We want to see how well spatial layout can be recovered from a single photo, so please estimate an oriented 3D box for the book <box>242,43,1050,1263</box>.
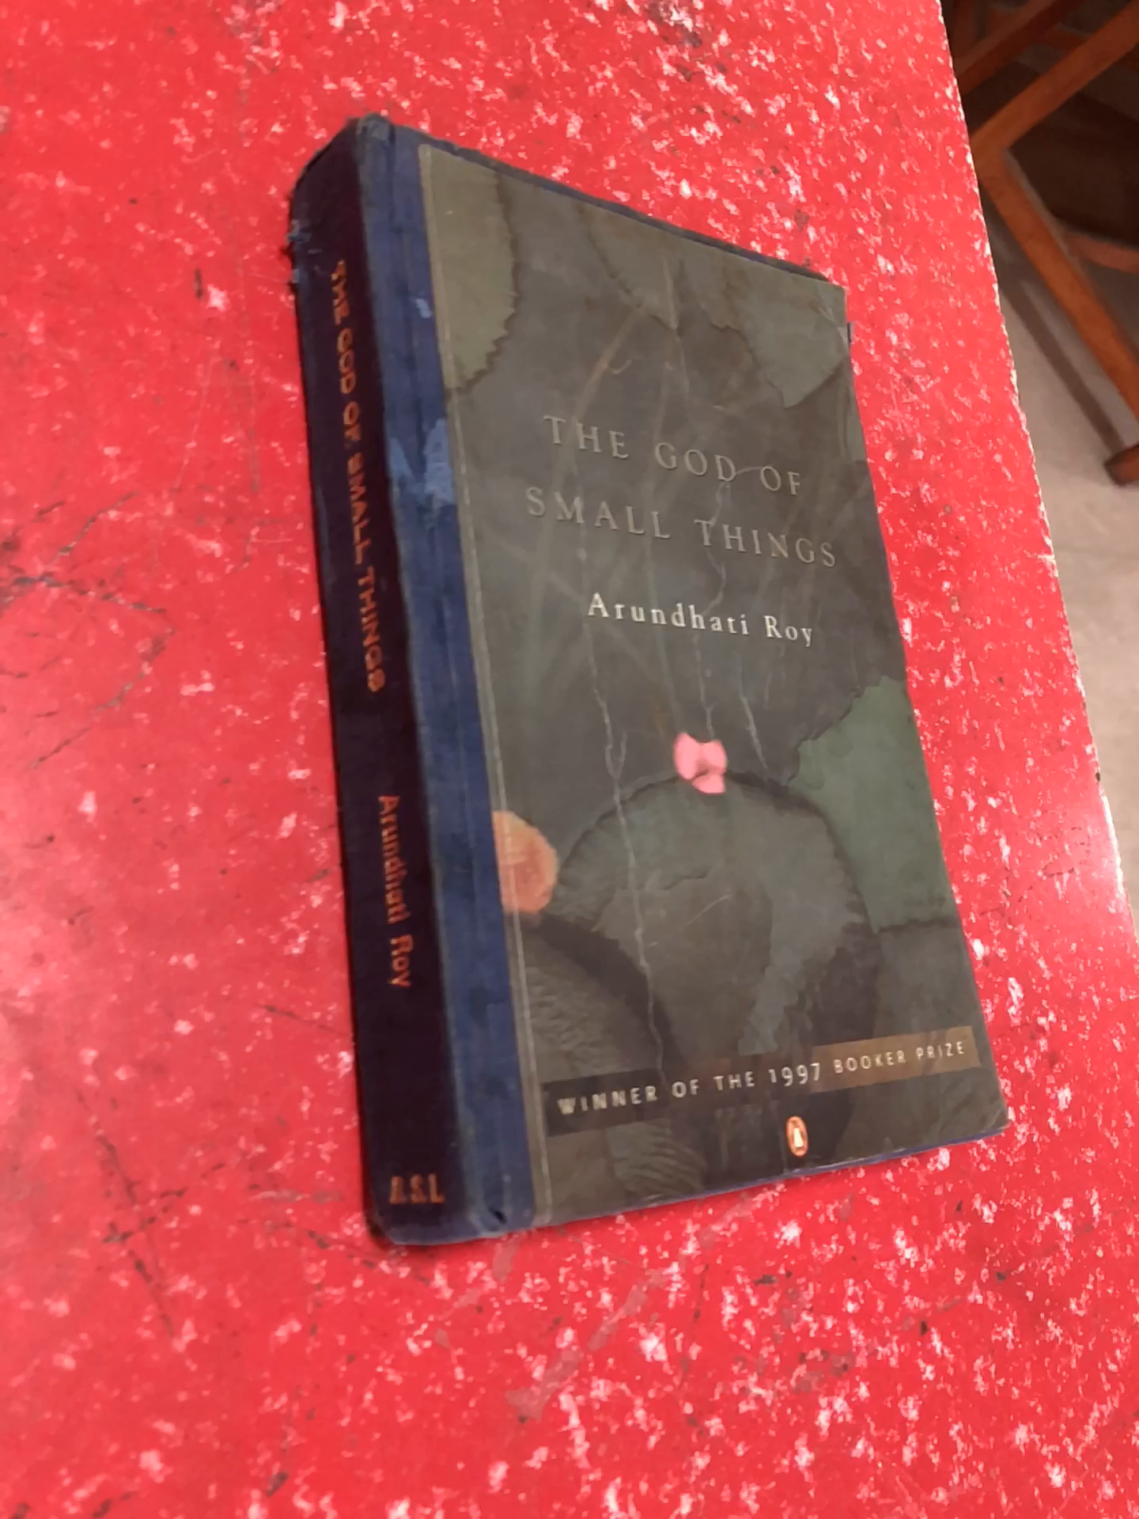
[{"bbox_3d":[0.016,-0.023,0.273,0.150,0.040,0.220,3,72,-34],"label":"book"}]
